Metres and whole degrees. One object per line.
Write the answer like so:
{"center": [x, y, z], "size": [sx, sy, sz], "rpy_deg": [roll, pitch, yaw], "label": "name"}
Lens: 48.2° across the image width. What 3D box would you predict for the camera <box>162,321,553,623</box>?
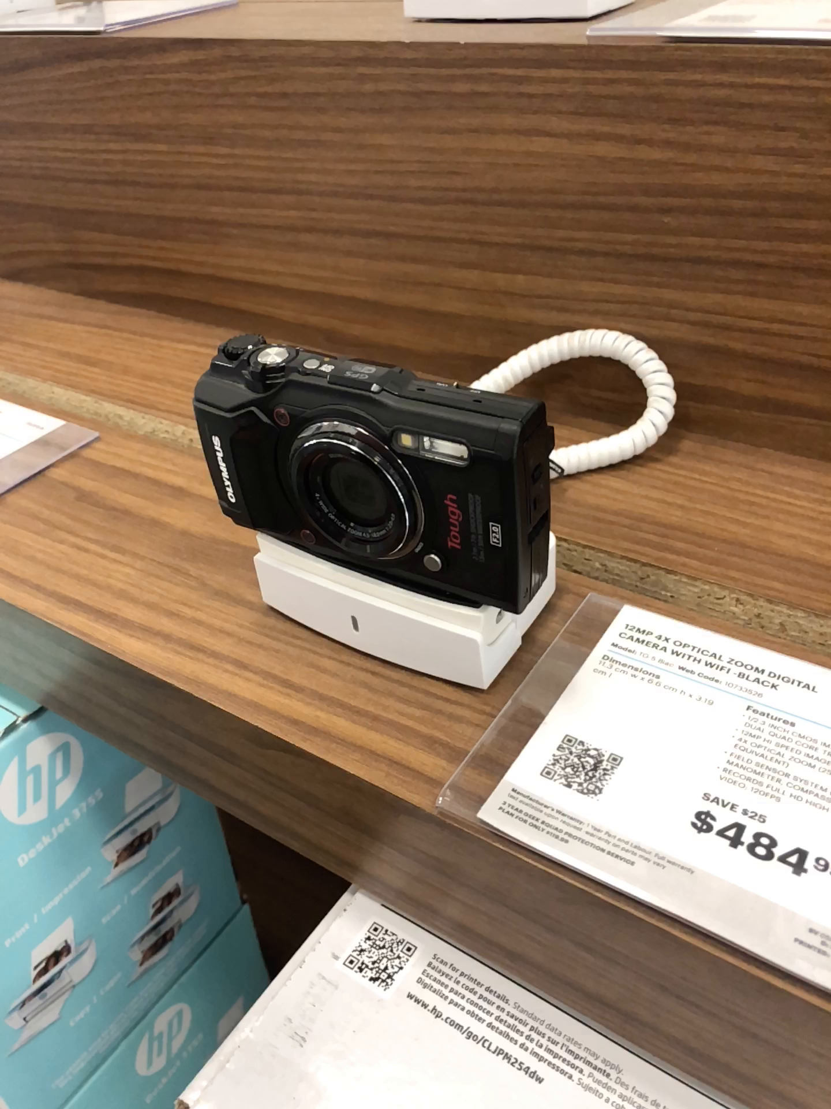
{"center": [-0.019, -0.029, 0.287], "size": [0.120, 0.060, 0.030], "rpy_deg": [18, 41, 30], "label": "camera"}
